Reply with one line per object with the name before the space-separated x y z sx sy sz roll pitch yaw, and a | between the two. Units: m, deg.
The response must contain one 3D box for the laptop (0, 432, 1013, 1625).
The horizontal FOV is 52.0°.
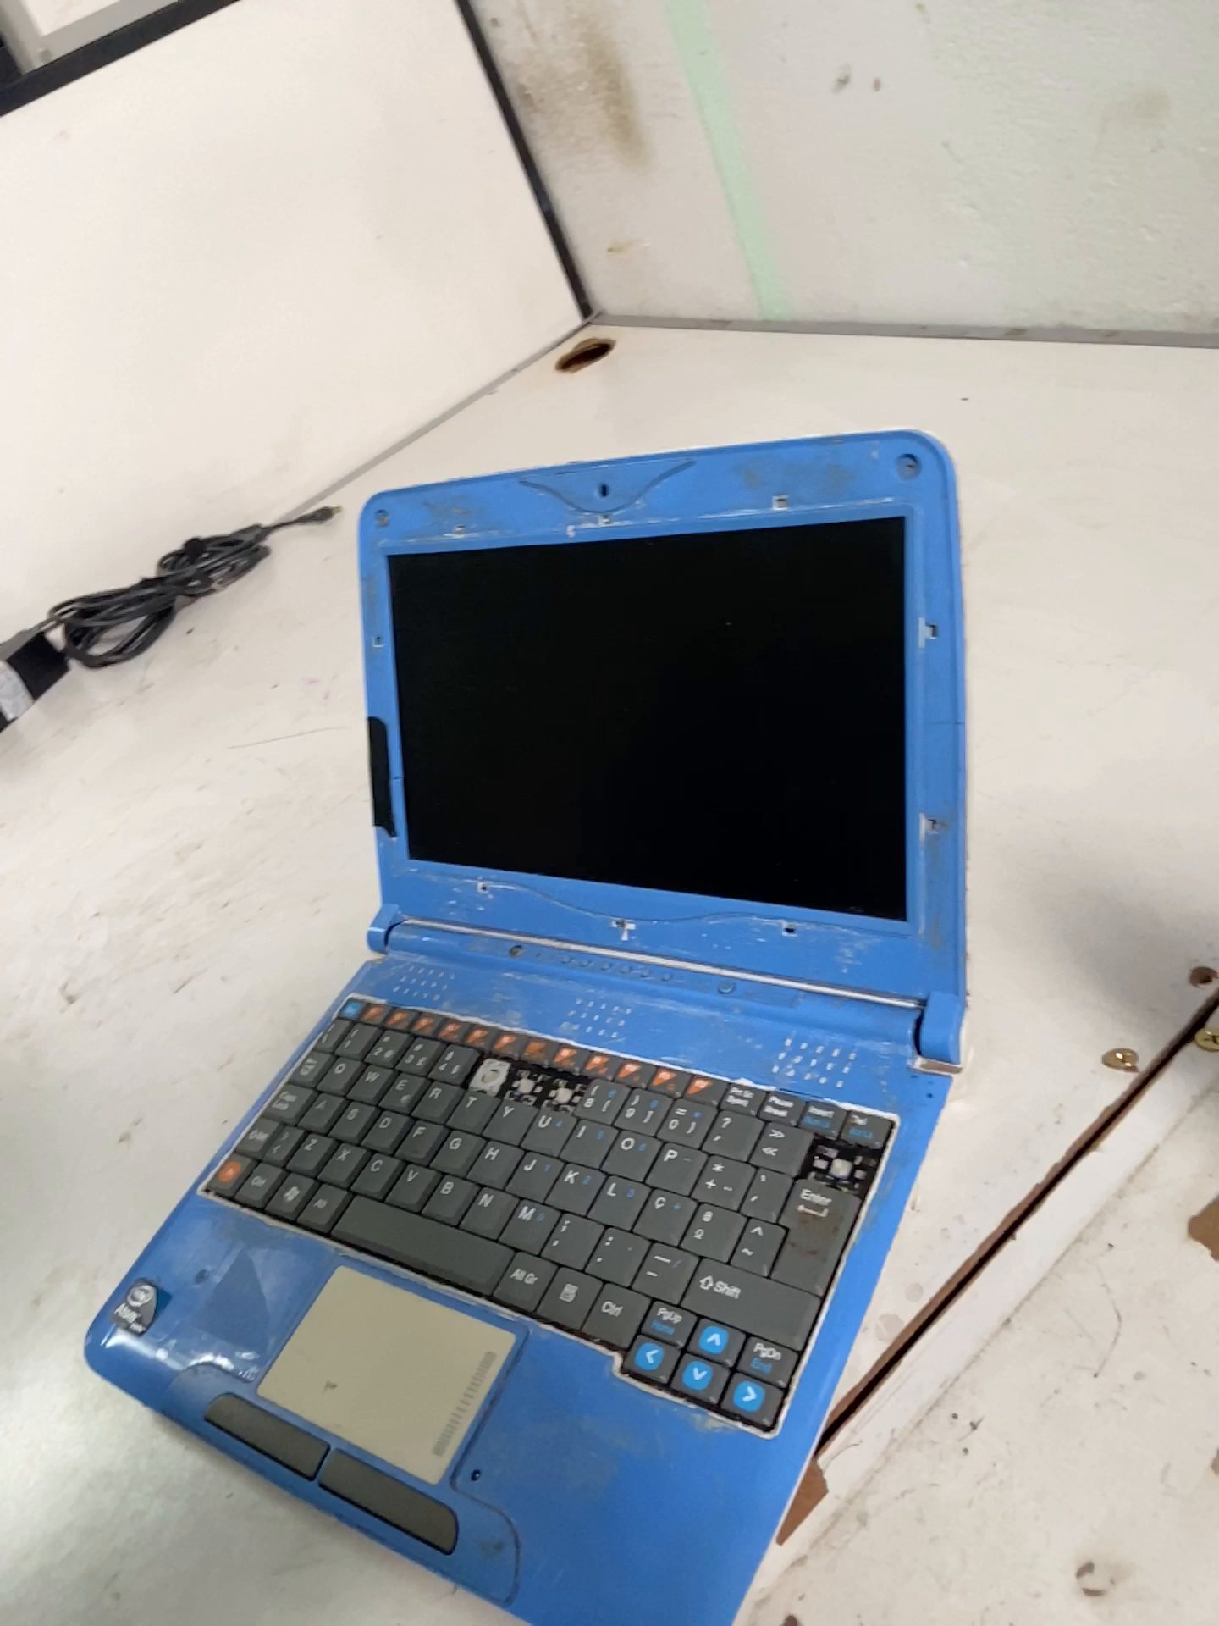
laptop | -0.044 0.034 0.393 0.241 0.149 0.287 4 46 35
